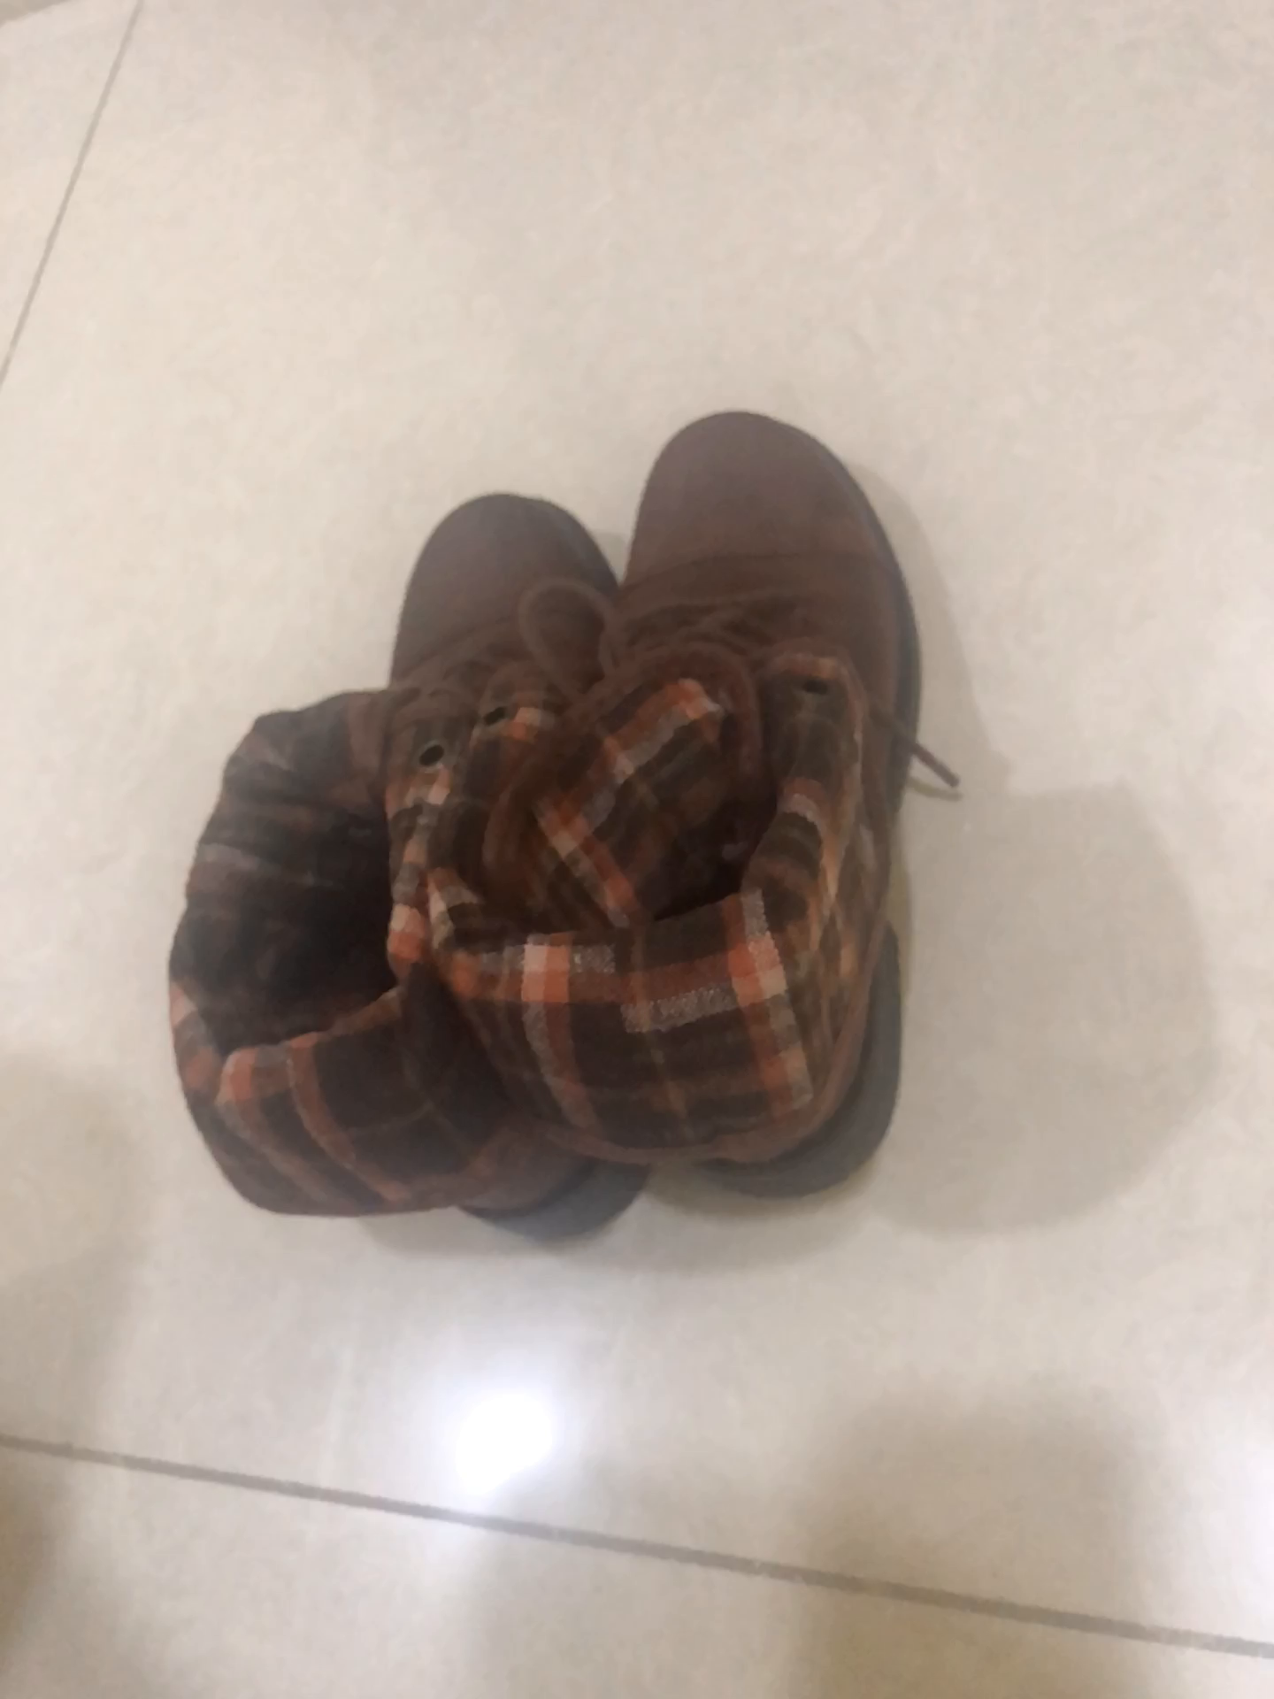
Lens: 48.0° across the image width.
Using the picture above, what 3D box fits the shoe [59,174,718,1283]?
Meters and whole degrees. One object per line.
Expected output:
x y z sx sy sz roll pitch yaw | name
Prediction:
-0.069 -0.032 0.434 0.110 0.150 0.280 -15 61 14 | shoe

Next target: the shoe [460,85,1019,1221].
0.027 -0.050 0.404 0.100 0.140 0.270 -12 62 16 | shoe
